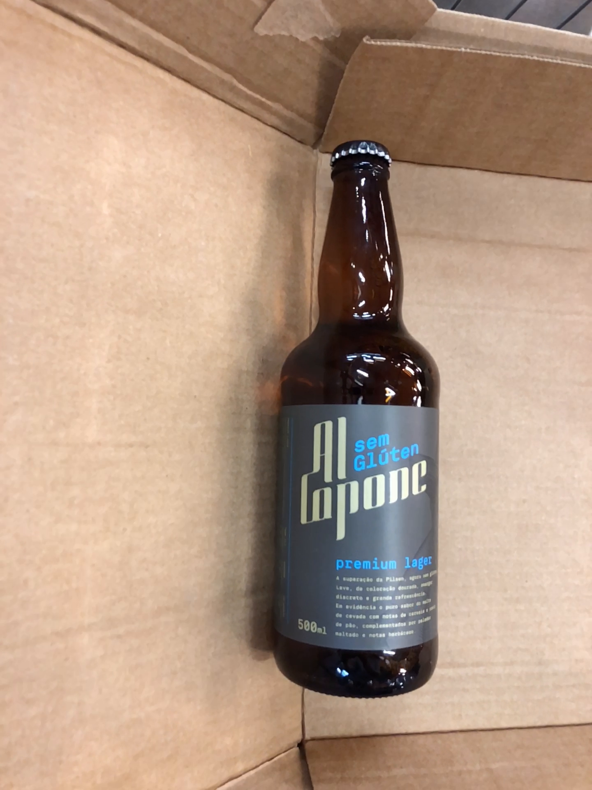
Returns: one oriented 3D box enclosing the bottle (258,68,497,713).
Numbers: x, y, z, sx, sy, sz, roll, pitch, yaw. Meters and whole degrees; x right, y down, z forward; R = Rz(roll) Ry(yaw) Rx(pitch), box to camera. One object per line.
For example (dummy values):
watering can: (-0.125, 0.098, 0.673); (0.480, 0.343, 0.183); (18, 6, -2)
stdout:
bottle: (0.039, -0.005, 0.340); (0.090, 0.070, 0.290); (6, 79, -24)

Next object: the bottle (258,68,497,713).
bottle: (0.039, -0.005, 0.340); (0.090, 0.070, 0.290); (6, 79, -24)
